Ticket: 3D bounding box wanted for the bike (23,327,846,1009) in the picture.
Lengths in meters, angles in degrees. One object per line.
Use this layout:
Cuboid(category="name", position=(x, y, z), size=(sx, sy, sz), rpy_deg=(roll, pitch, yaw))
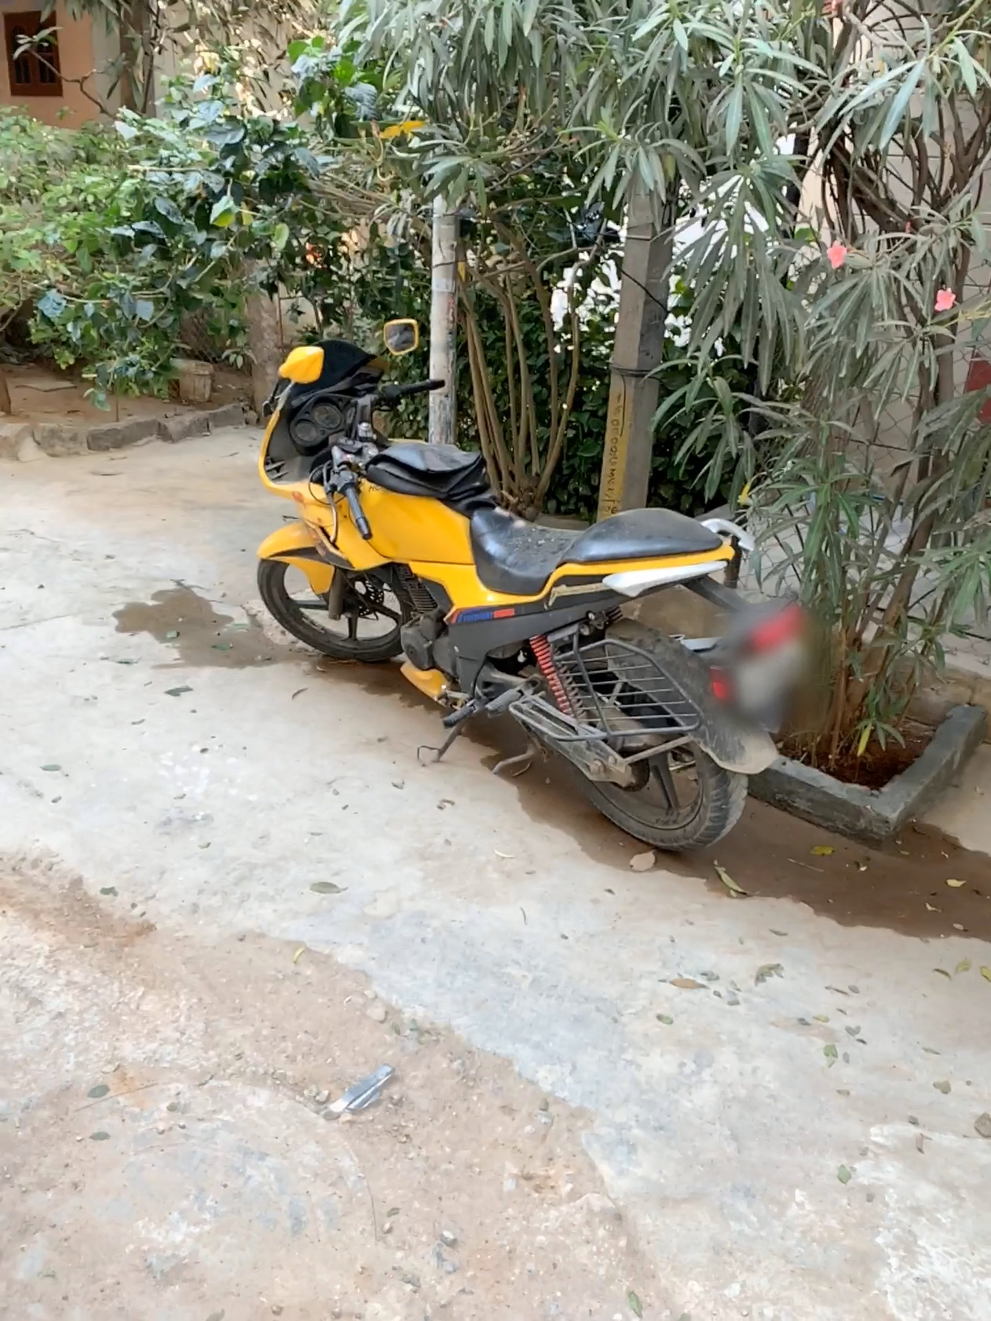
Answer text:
Cuboid(category="bike", position=(-0.254, -0.170, 2.546), size=(1.750, 0.954, 0.855), rpy_deg=(26, 32, 34))
